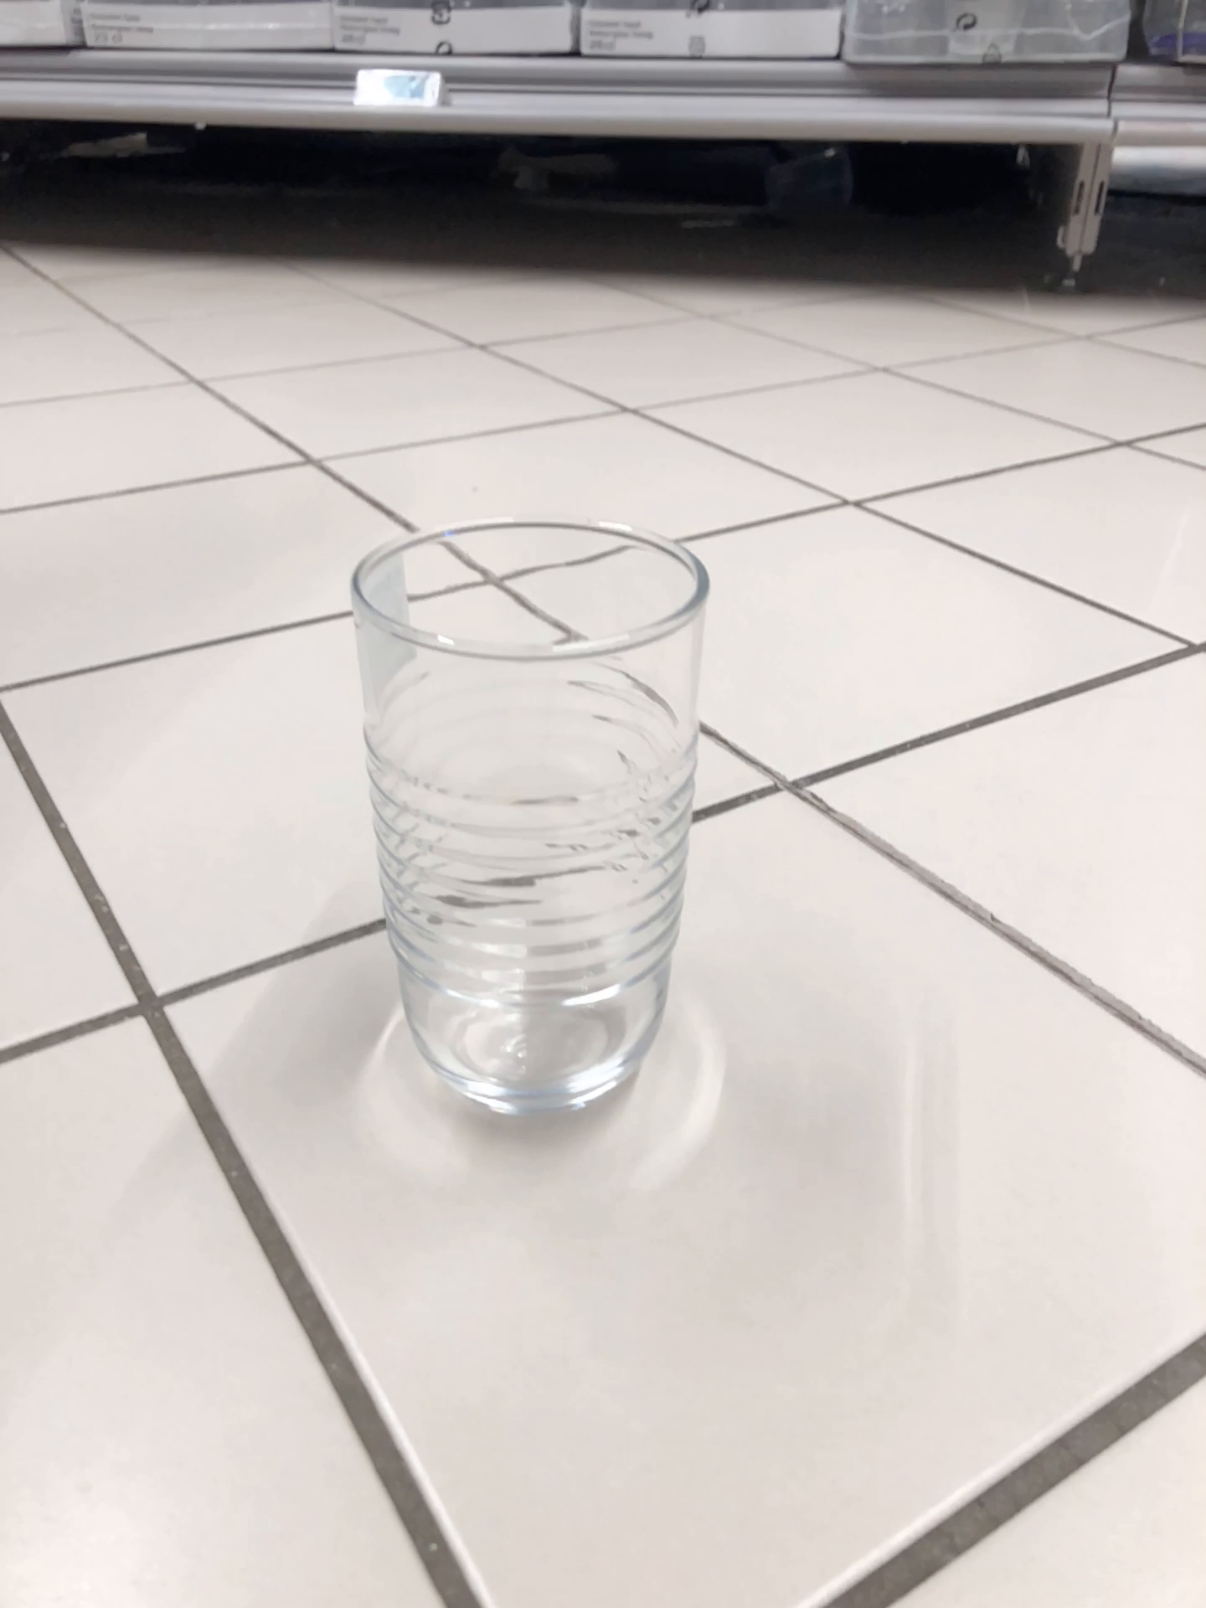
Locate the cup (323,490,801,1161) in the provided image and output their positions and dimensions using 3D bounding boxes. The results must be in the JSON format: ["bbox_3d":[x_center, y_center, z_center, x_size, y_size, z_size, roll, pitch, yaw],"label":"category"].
[{"bbox_3d":[-0.012,0.001,0.271,0.077,0.104,0.079,0,30,0],"label":"cup"}]
